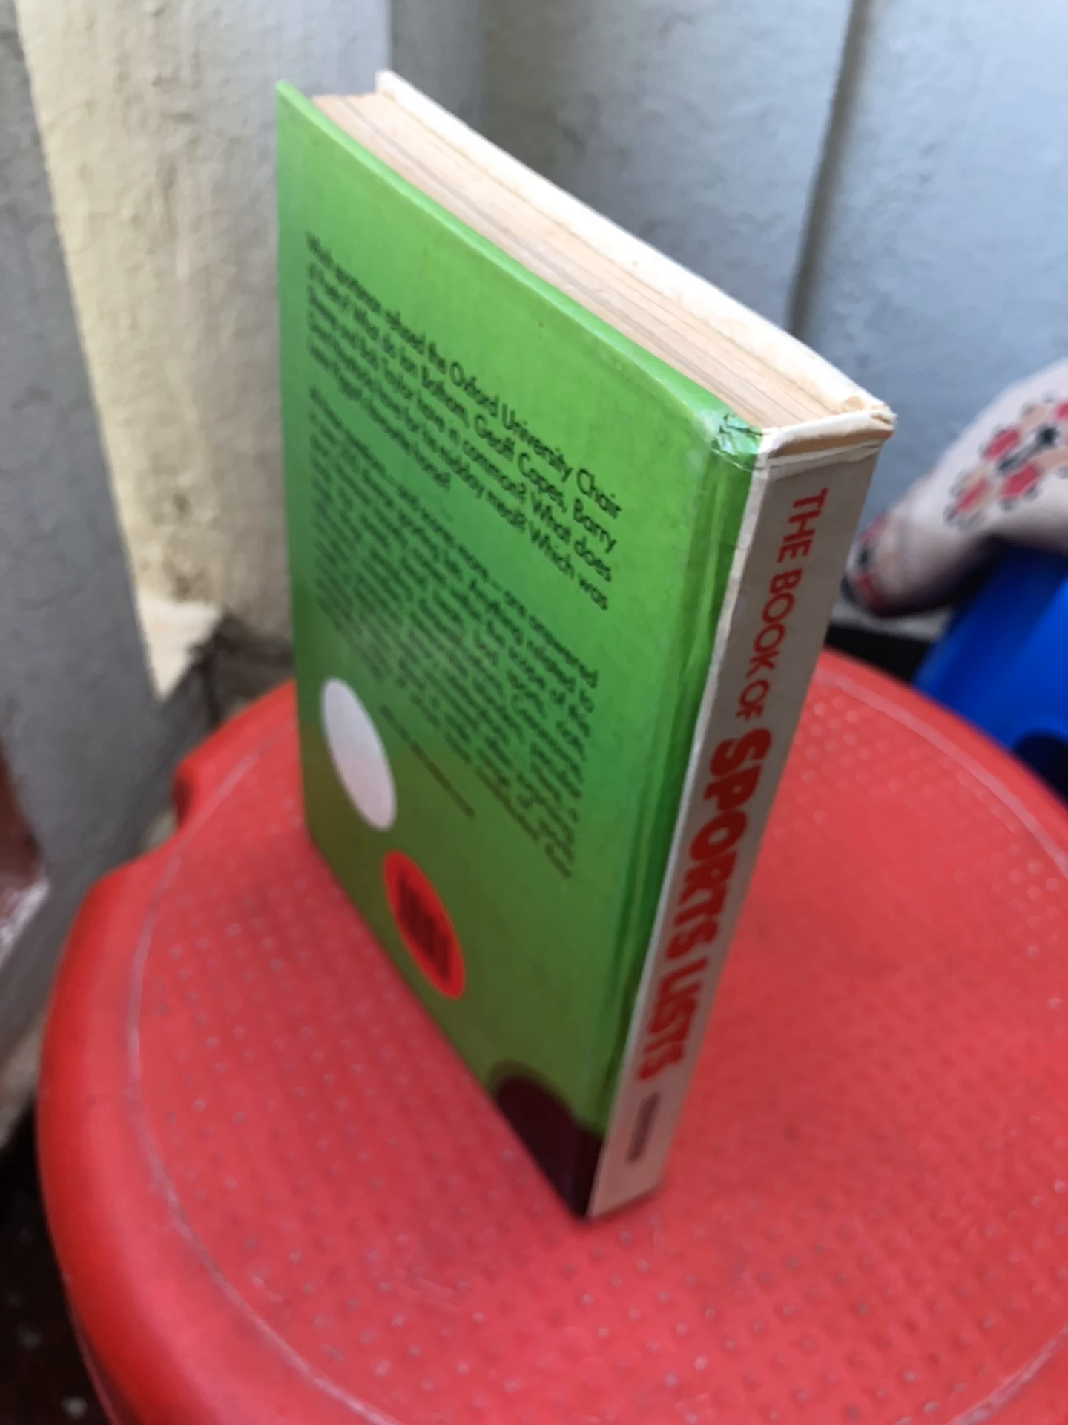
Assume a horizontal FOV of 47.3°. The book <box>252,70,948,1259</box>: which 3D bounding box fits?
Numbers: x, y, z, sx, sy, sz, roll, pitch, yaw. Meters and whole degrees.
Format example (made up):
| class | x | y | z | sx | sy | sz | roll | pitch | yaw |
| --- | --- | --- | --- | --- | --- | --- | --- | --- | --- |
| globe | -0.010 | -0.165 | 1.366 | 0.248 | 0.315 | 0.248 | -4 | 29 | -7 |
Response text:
| class | x | y | z | sx | sy | sz | roll | pitch | yaw |
| --- | --- | --- | --- | --- | --- | --- | --- | --- | --- |
| book | -0.008 | 0.000 | 0.269 | 0.030 | 0.219 | 0.150 | -21 | 48 | -27 |
